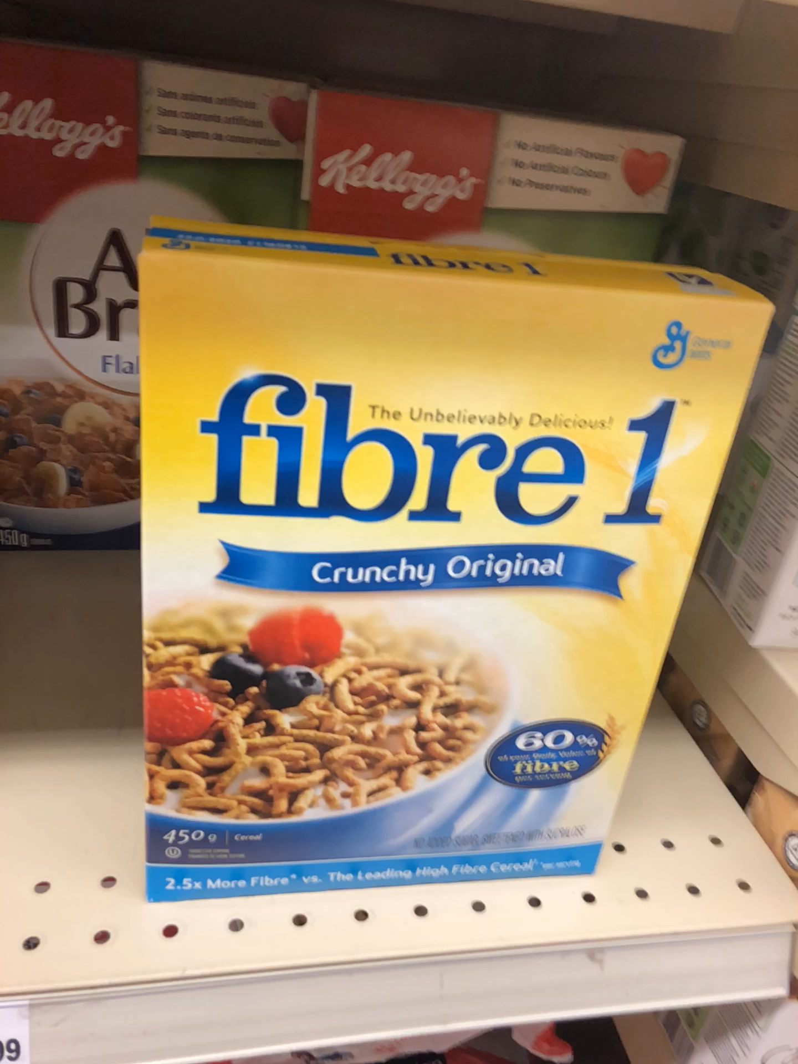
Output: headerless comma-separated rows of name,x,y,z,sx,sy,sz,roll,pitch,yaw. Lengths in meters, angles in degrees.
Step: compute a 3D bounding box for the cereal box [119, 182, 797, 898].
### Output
cereal box,0.006,0.021,0.345,0.210,0.268,0.060,2,29,-12
